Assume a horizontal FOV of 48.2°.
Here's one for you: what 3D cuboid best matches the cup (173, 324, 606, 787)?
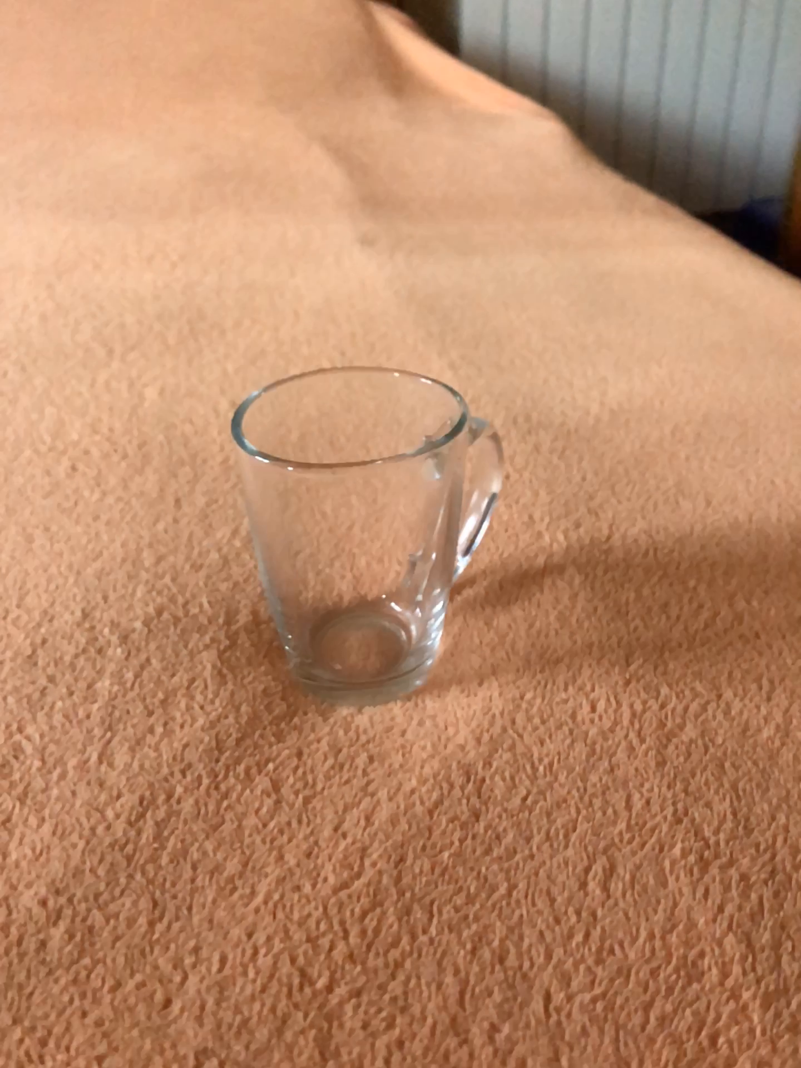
[{"bbox_3d":[-0.001,0.000,0.274,0.101,0.089,0.070,-27,41,-35],"label":"cup"}]
